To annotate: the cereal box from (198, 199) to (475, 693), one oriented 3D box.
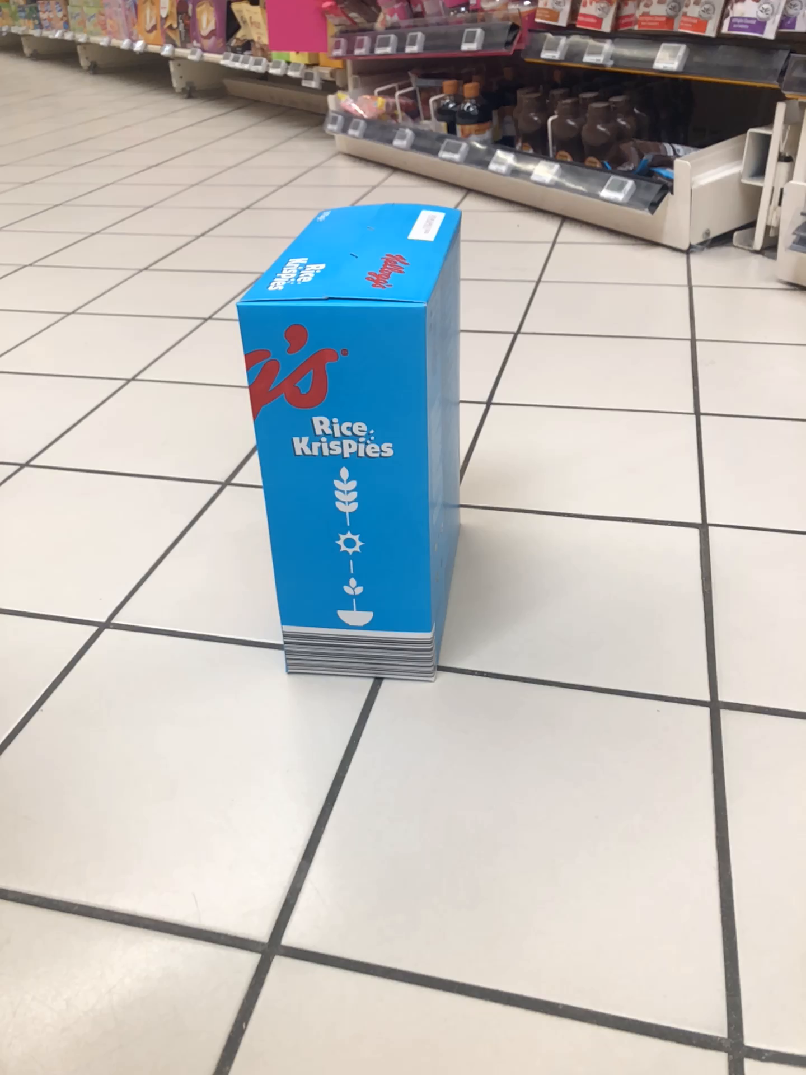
[{"bbox_3d":[-0.020,-0.065,0.556,0.110,0.239,0.201,3,33,10],"label":"cereal box"}]
